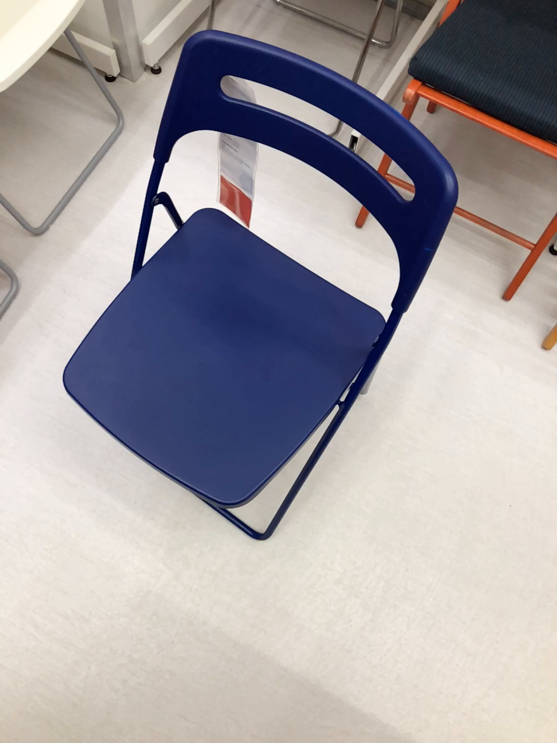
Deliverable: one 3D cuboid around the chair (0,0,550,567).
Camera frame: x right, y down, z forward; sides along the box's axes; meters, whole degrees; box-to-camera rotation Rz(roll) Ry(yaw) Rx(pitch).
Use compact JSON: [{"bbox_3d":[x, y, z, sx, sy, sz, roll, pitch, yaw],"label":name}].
[{"bbox_3d":[-0.034,-0.064,0.992,0.460,0.698,0.501,34,70,10],"label":"chair"}]
